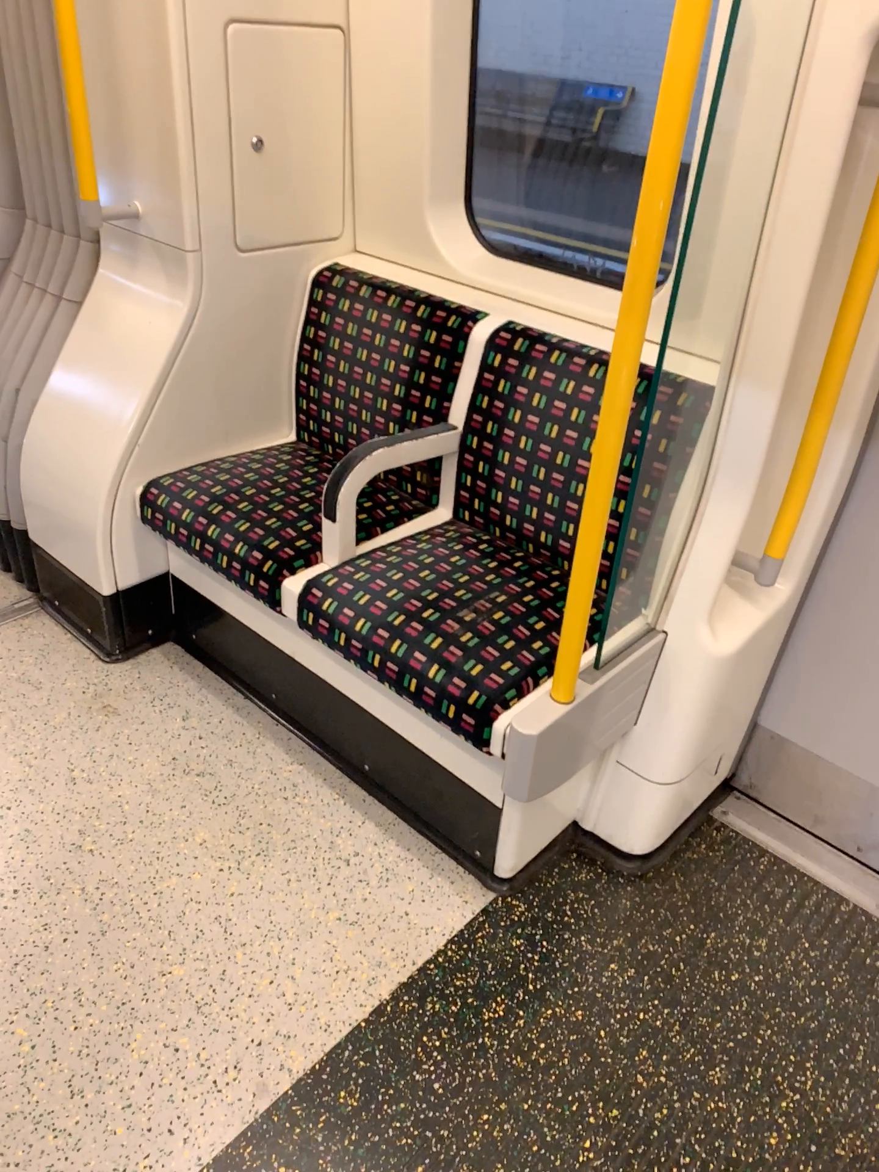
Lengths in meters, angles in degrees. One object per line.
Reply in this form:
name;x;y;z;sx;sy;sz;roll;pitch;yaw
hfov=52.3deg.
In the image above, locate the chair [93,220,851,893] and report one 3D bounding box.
chair;0.036;-0.204;1.849;1.065;0.762;0.915;29;40;33
